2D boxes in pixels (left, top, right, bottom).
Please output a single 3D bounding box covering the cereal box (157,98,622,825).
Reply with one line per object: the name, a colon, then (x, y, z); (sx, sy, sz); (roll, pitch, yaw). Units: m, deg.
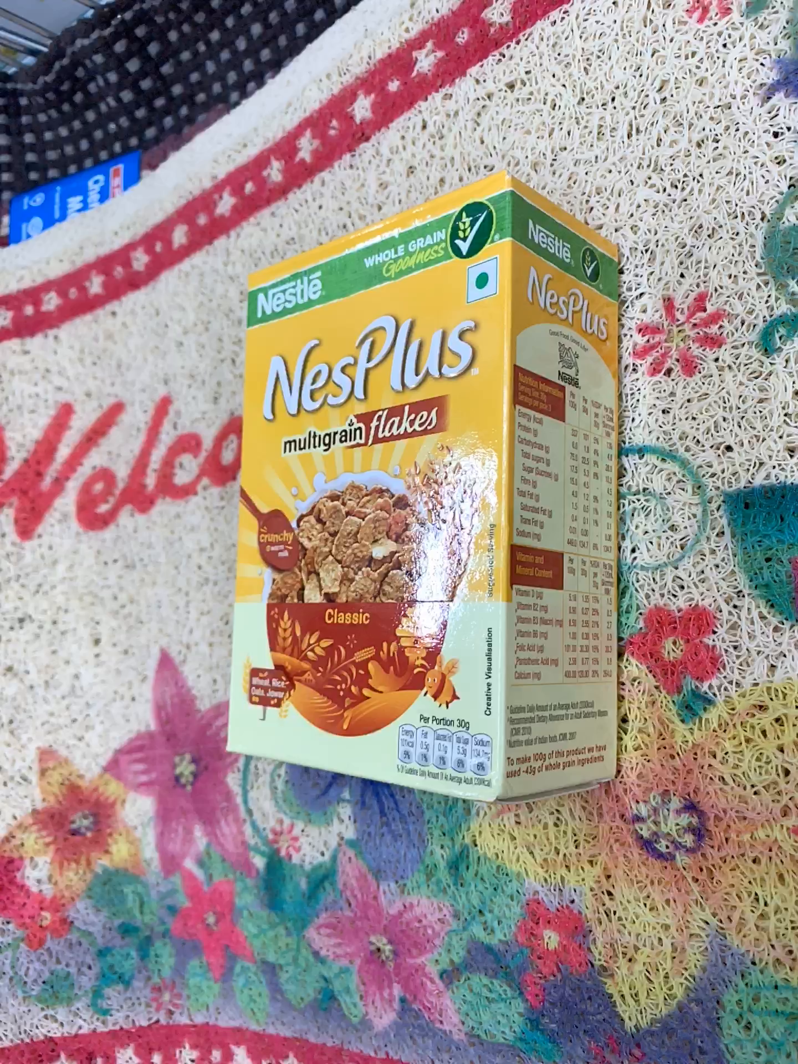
cereal box: (-0.009, -0.012, 0.227); (0.131, 0.040, 0.150); (-5, 80, 44)
